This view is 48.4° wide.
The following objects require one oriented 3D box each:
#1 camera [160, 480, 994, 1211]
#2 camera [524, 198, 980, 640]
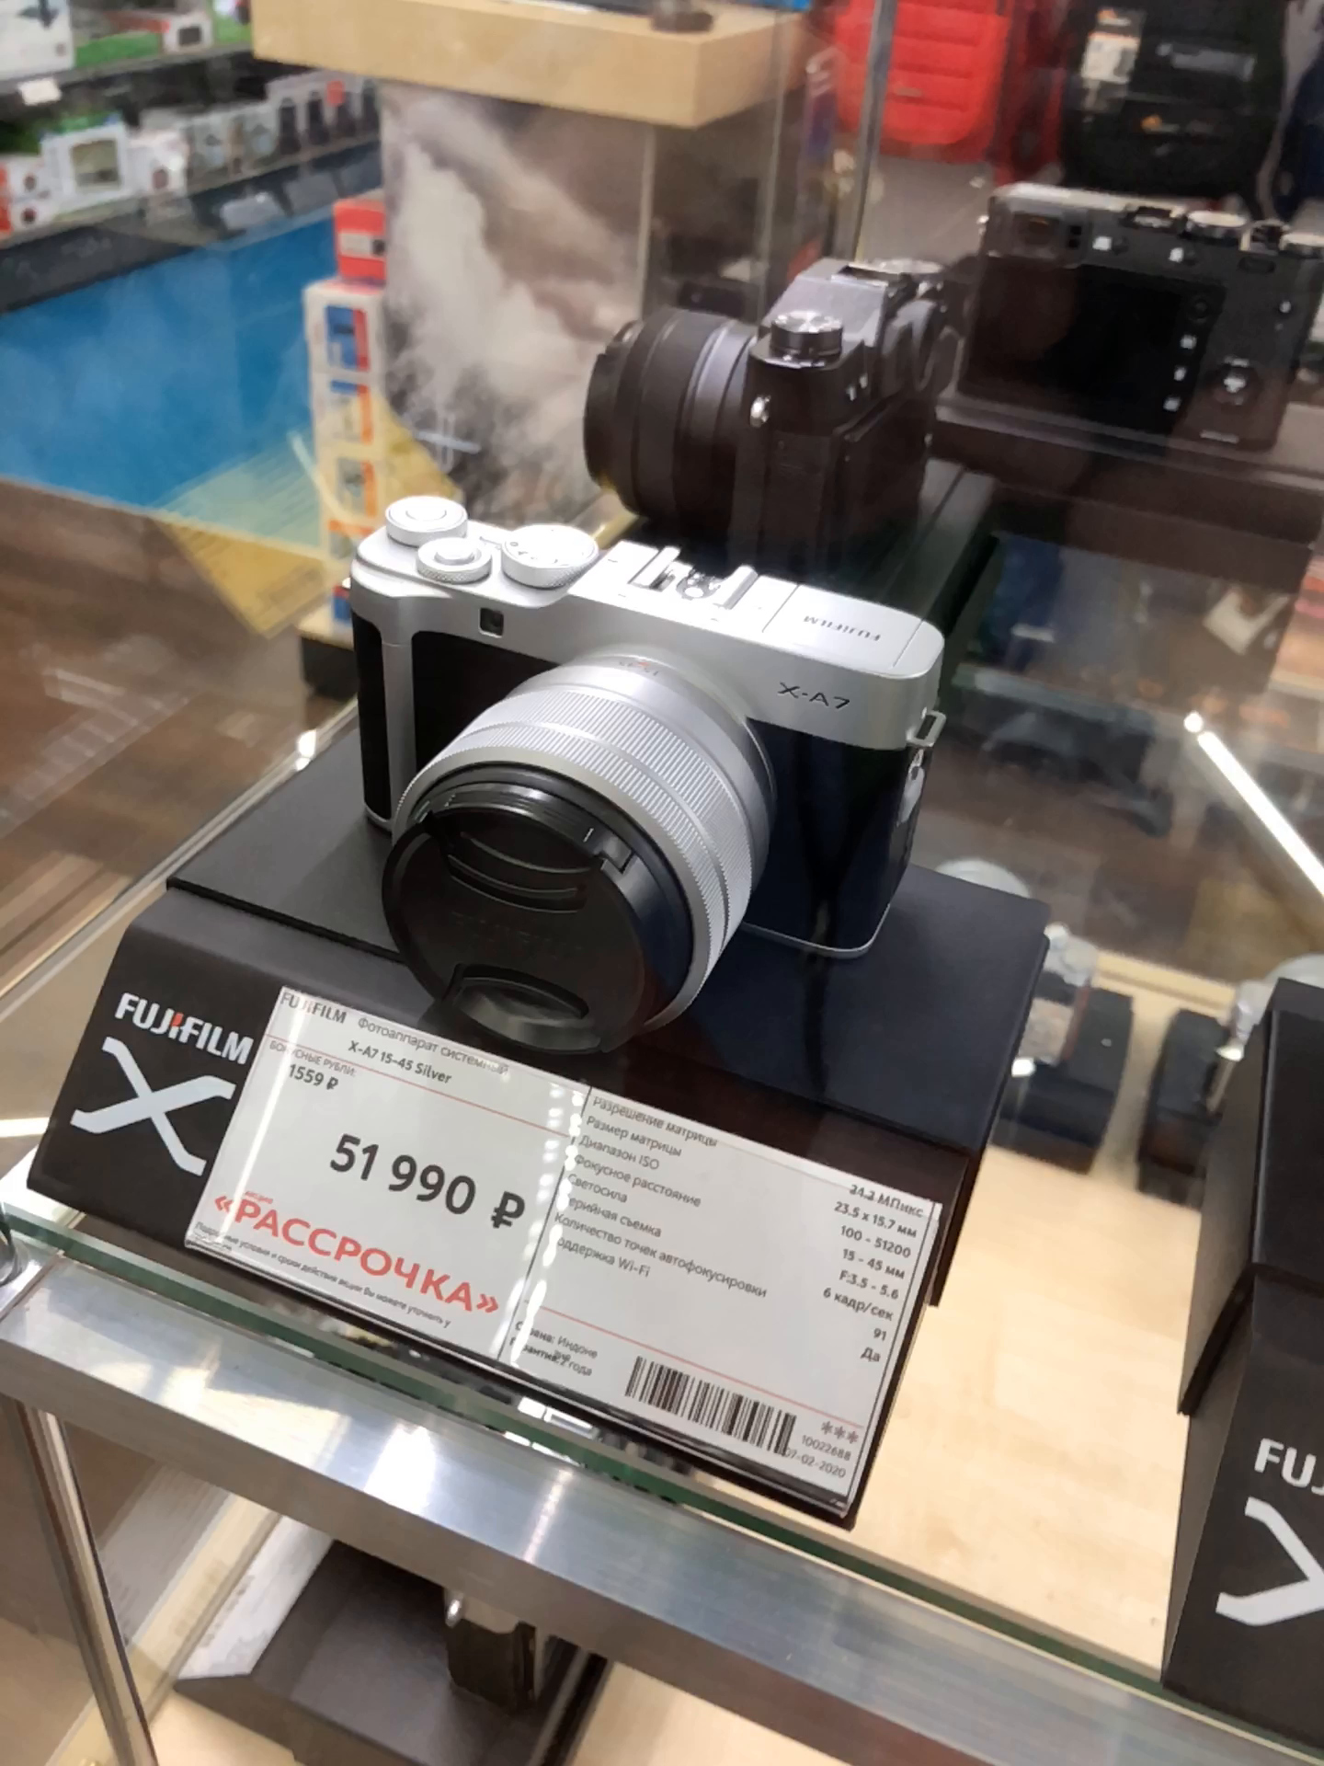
[{"bbox_3d":[-0.014,-0.014,0.289,0.126,0.080,0.085,17,38,16],"label":"camera"},{"bbox_3d":[0.028,-0.142,0.437,0.097,0.080,0.116,16,38,14],"label":"camera"}]
